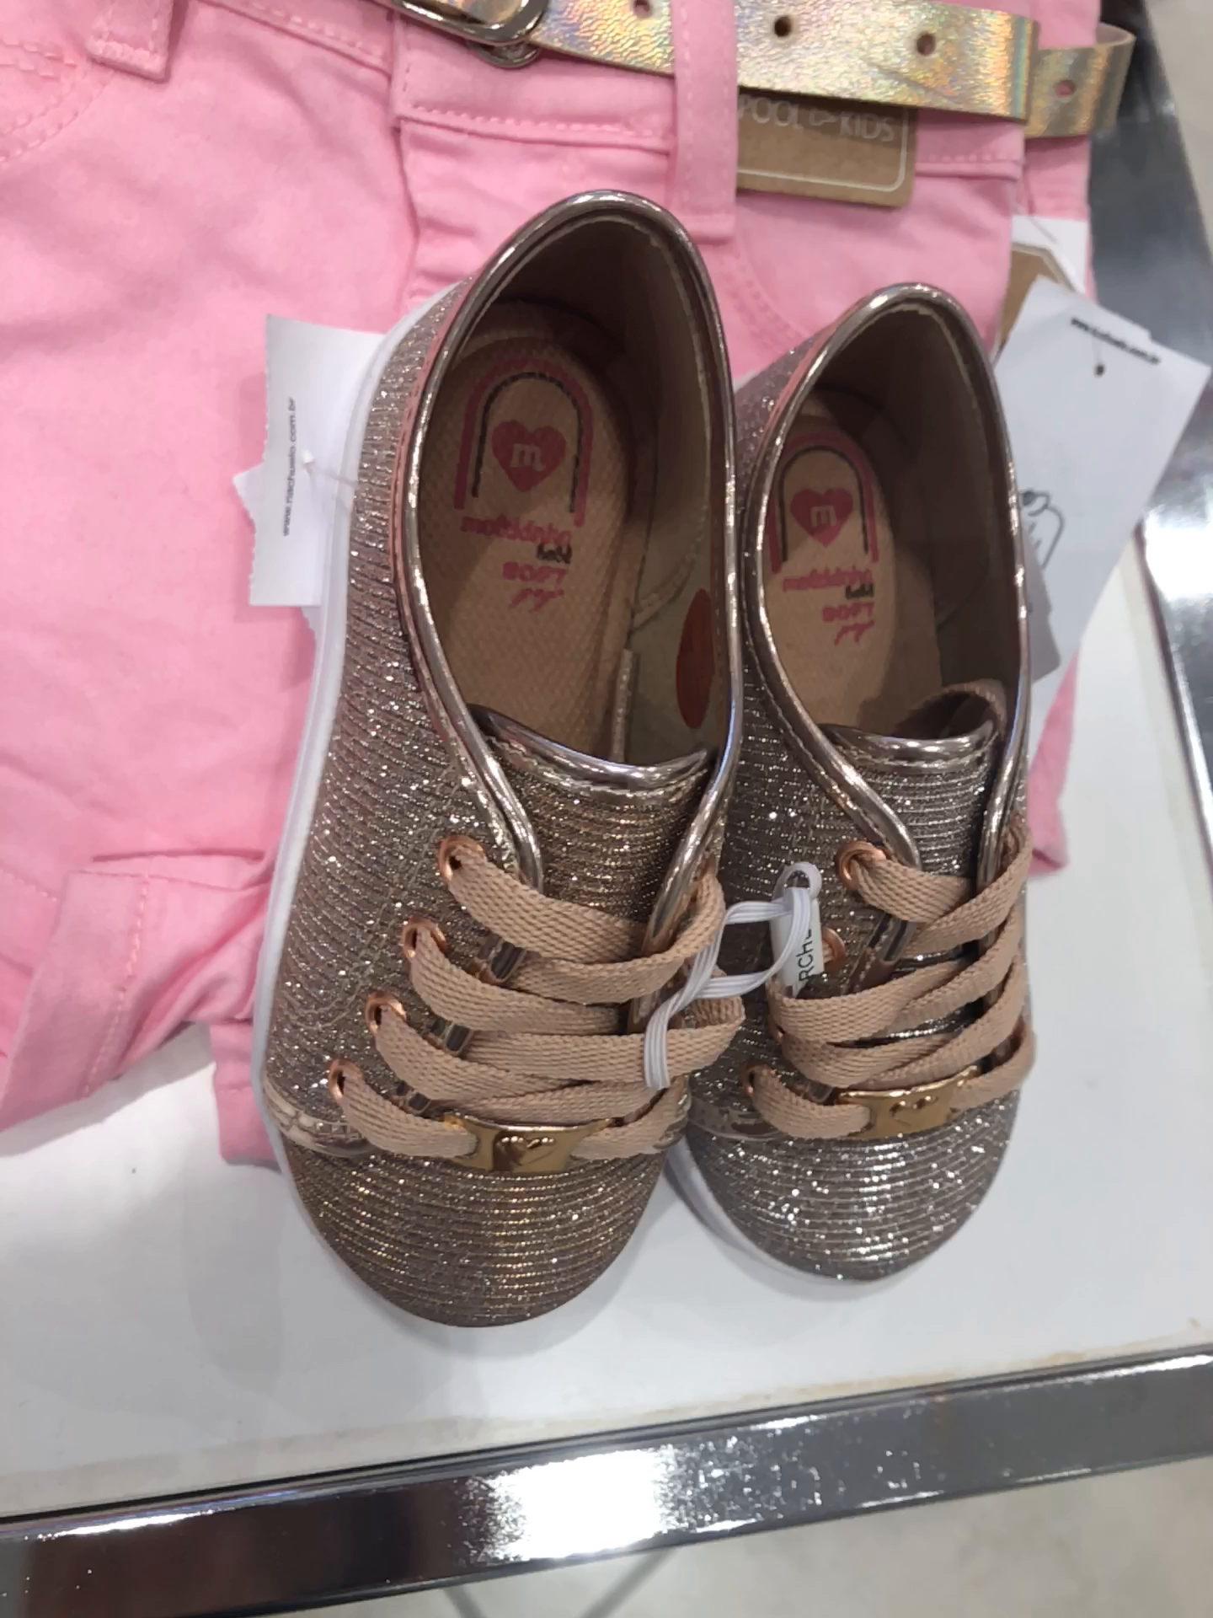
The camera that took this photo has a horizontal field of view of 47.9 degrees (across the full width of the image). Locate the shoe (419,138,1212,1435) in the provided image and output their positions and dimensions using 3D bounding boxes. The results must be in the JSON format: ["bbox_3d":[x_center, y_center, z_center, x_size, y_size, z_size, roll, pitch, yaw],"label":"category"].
[{"bbox_3d":[0.027,-0.006,0.228,0.080,0.080,0.170,-10,87,-14],"label":"shoe"}]

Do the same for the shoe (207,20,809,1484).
[{"bbox_3d":[-0.019,-0.006,0.204,0.070,0.080,0.170,0,95,-11],"label":"shoe"}]
